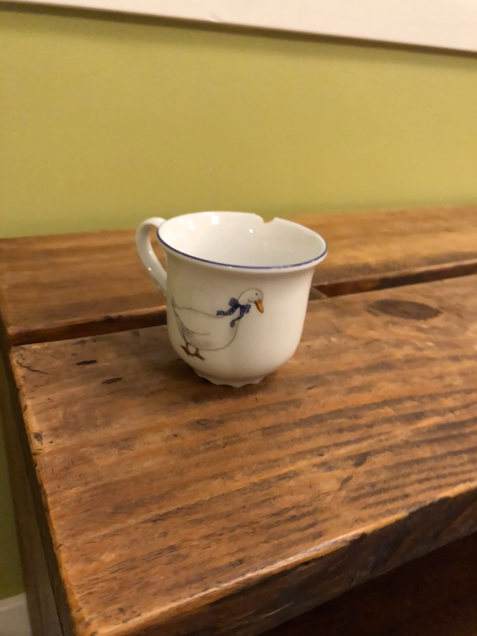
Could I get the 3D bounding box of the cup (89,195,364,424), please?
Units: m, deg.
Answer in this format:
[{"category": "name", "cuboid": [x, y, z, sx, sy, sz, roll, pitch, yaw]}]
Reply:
[{"category": "cup", "cuboid": [-0.008, -0.015, 0.285, 0.107, 0.066, 0.091, 25, 34, 35]}]
